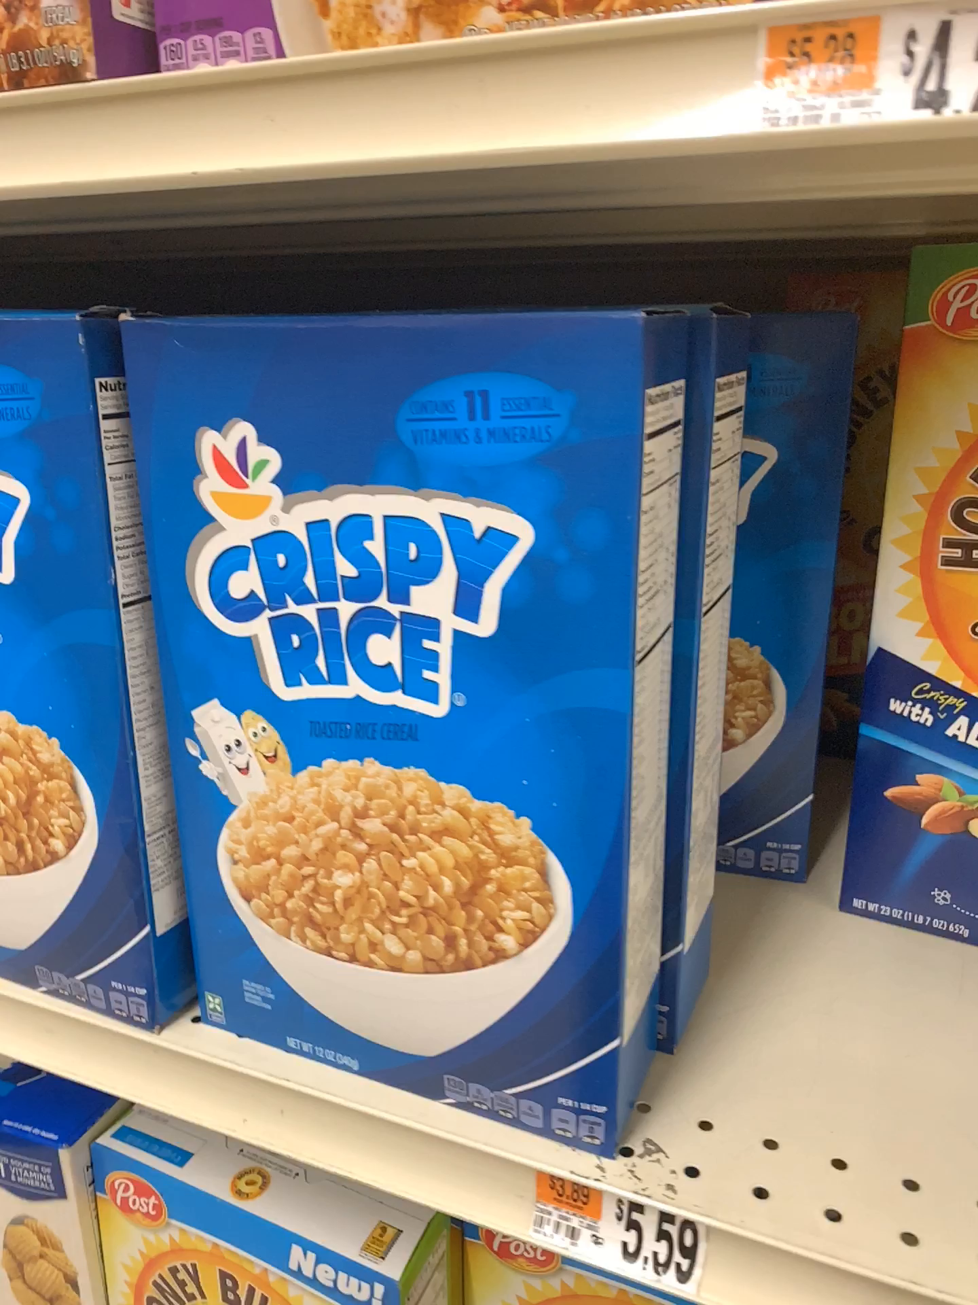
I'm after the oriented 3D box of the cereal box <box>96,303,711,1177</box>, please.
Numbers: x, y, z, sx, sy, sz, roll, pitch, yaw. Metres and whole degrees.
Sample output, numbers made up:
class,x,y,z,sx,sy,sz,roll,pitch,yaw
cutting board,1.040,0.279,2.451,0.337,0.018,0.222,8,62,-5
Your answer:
class,x,y,z,sx,sy,sz,roll,pitch,yaw
cereal box,-0.032,0.028,0.408,0.210,0.319,0.070,7,20,22
